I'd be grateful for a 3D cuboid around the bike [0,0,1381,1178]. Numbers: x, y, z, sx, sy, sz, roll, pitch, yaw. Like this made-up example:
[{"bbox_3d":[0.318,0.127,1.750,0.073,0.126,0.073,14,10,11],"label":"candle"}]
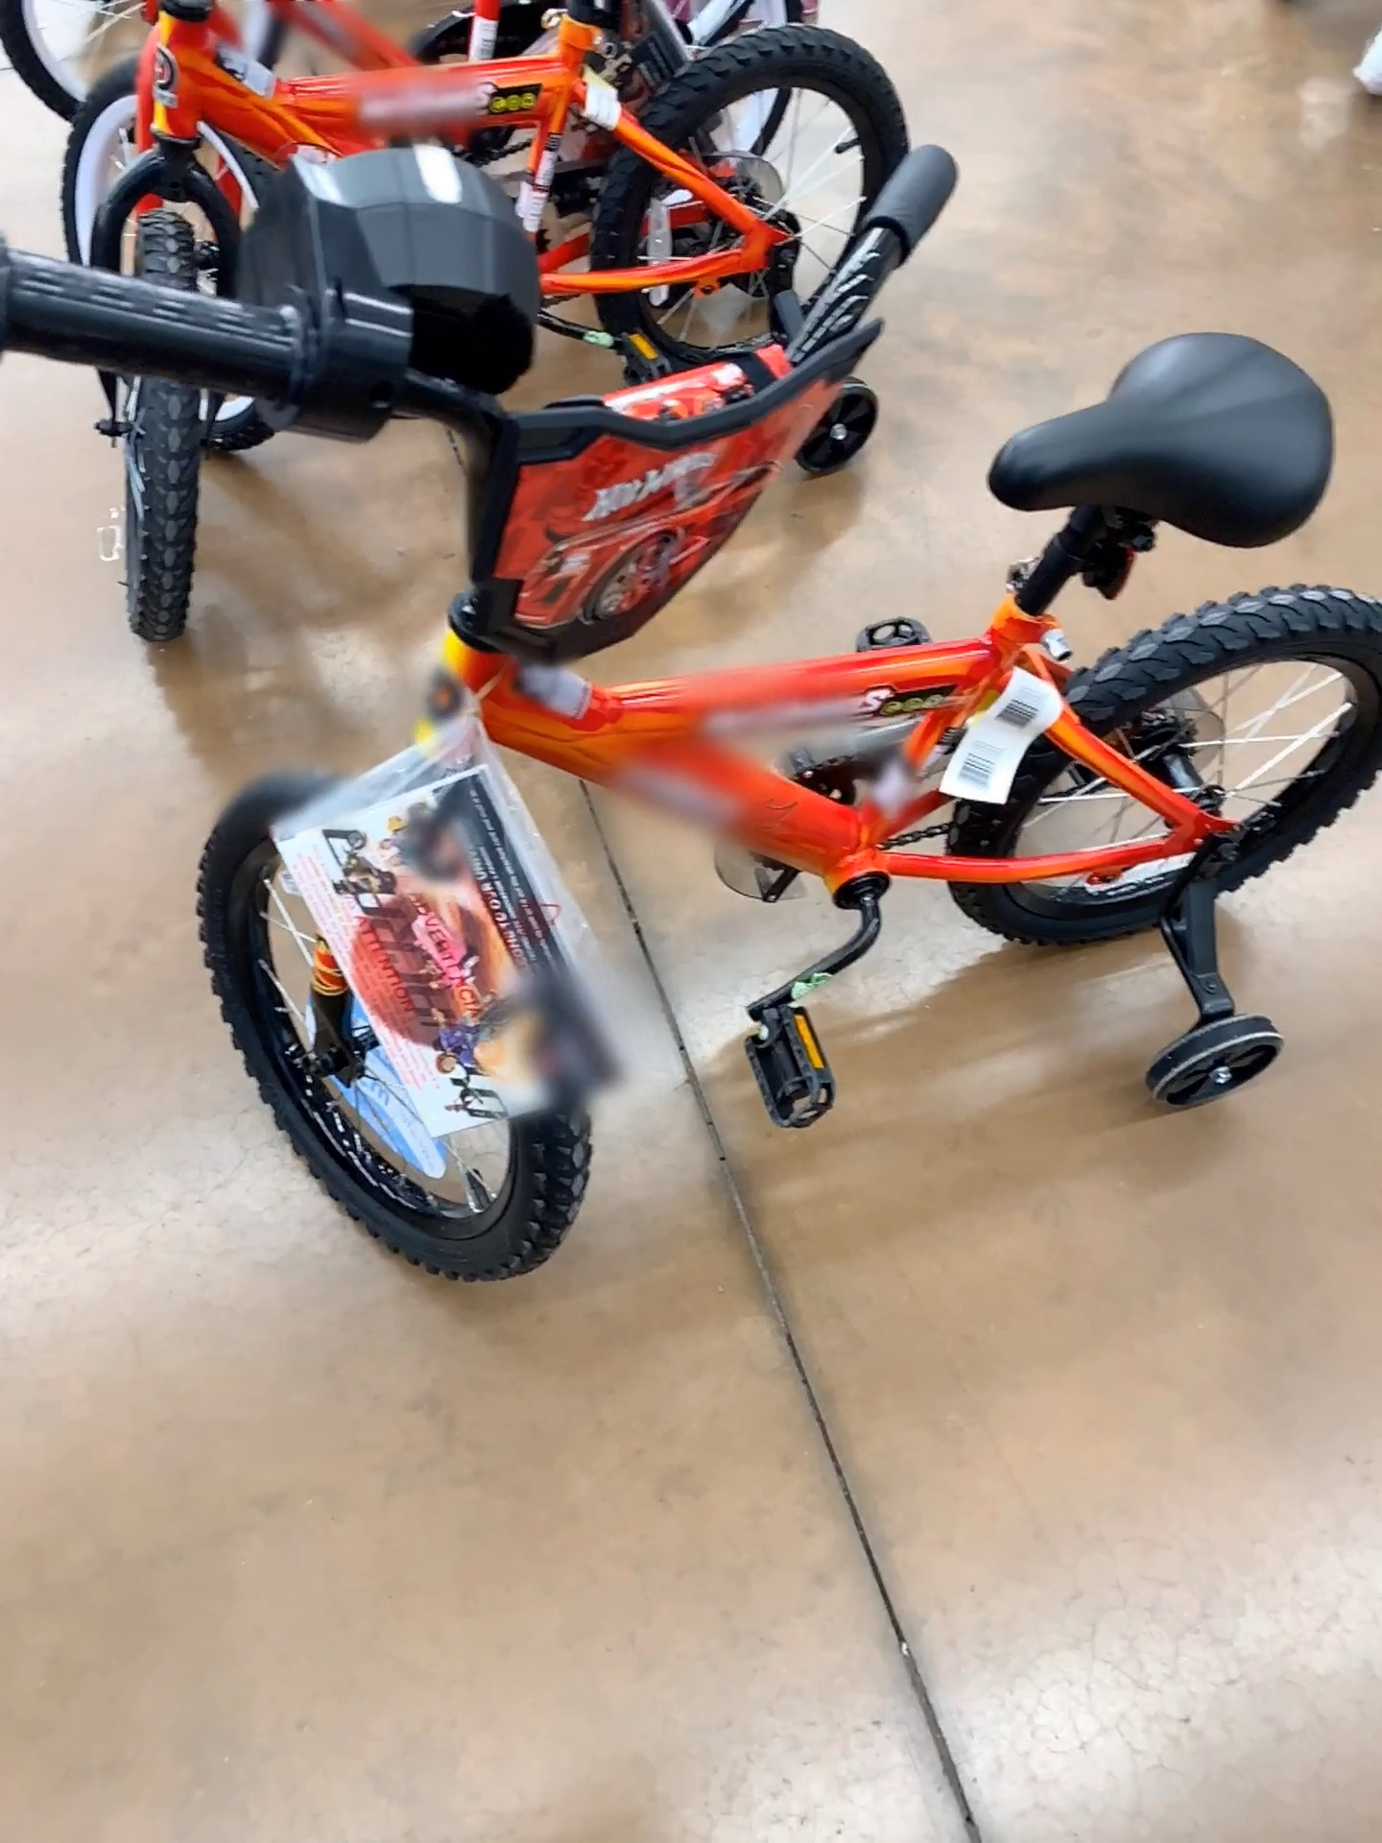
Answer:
[{"bbox_3d":[0.067,-0.258,1.056,0.994,0.821,0.504,-11,57,-1],"label":"bike"}]
